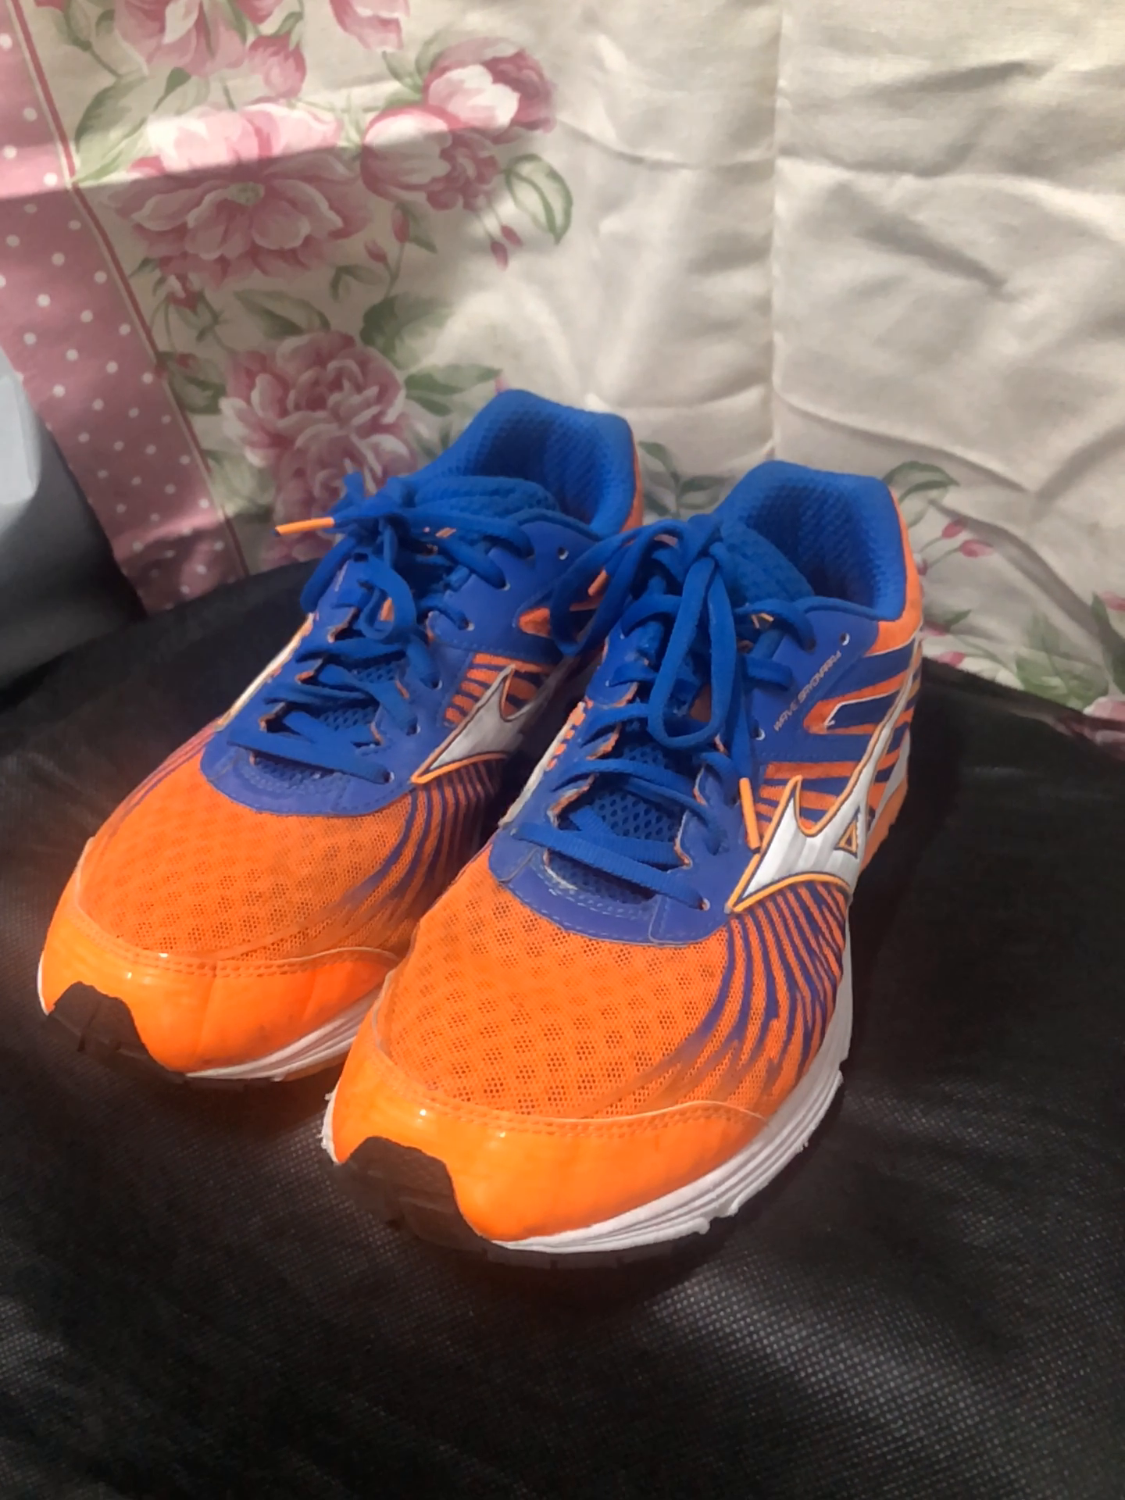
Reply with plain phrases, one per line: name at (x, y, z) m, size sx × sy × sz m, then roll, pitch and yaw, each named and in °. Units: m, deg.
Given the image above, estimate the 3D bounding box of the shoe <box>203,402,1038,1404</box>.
shoe at (0.032, 0.010, 0.311) m, size 0.110 × 0.109 × 0.221 m, roll 17°, pitch 37°, yaw 19°

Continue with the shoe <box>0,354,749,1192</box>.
shoe at (-0.042, -0.017, 0.350) m, size 0.110 × 0.109 × 0.221 m, roll 17°, pitch 37°, yaw 19°
